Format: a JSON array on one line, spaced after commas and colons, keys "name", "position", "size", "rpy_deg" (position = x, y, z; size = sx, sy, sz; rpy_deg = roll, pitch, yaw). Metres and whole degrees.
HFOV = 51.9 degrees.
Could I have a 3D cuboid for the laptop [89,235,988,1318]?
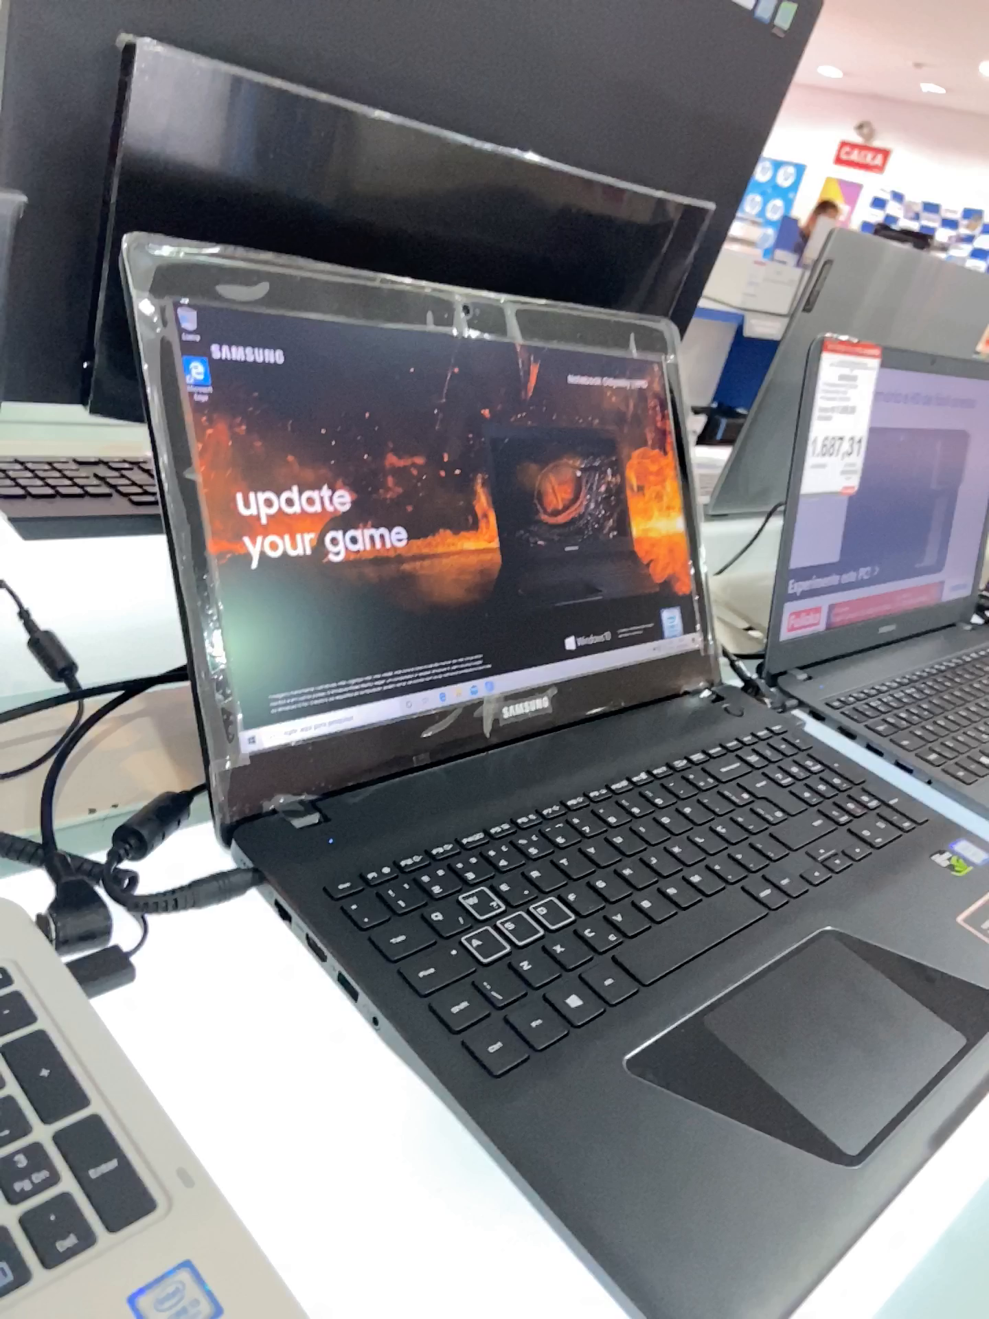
[{"name": "laptop", "position": [0.087, -0.019, 0.469], "size": [0.375, 0.202, 0.391], "rpy_deg": [-10, 34, -43]}]
